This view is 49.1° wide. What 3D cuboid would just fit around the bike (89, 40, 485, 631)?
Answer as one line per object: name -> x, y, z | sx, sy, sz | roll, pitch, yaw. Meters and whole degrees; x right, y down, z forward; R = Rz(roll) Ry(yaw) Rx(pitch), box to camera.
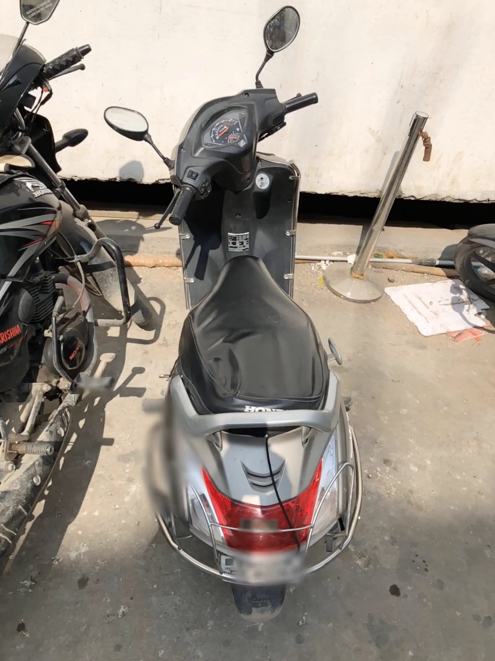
bike -> -0.044, -0.096, 1.736 | 0.616, 1.107, 1.508 | 5, 40, -9
